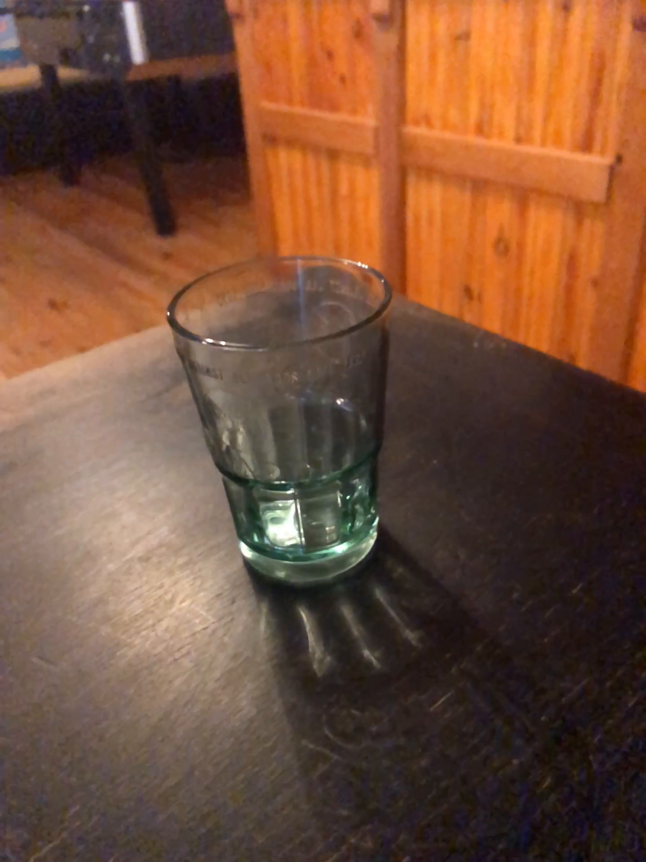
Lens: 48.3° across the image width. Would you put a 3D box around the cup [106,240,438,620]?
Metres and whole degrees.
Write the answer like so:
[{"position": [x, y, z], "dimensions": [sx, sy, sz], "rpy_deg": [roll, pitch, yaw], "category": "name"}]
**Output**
[{"position": [-0.015, -0.007, 0.290], "dimensions": [0.083, 0.103, 0.089], "rpy_deg": [-3, 33, 2], "category": "cup"}]
